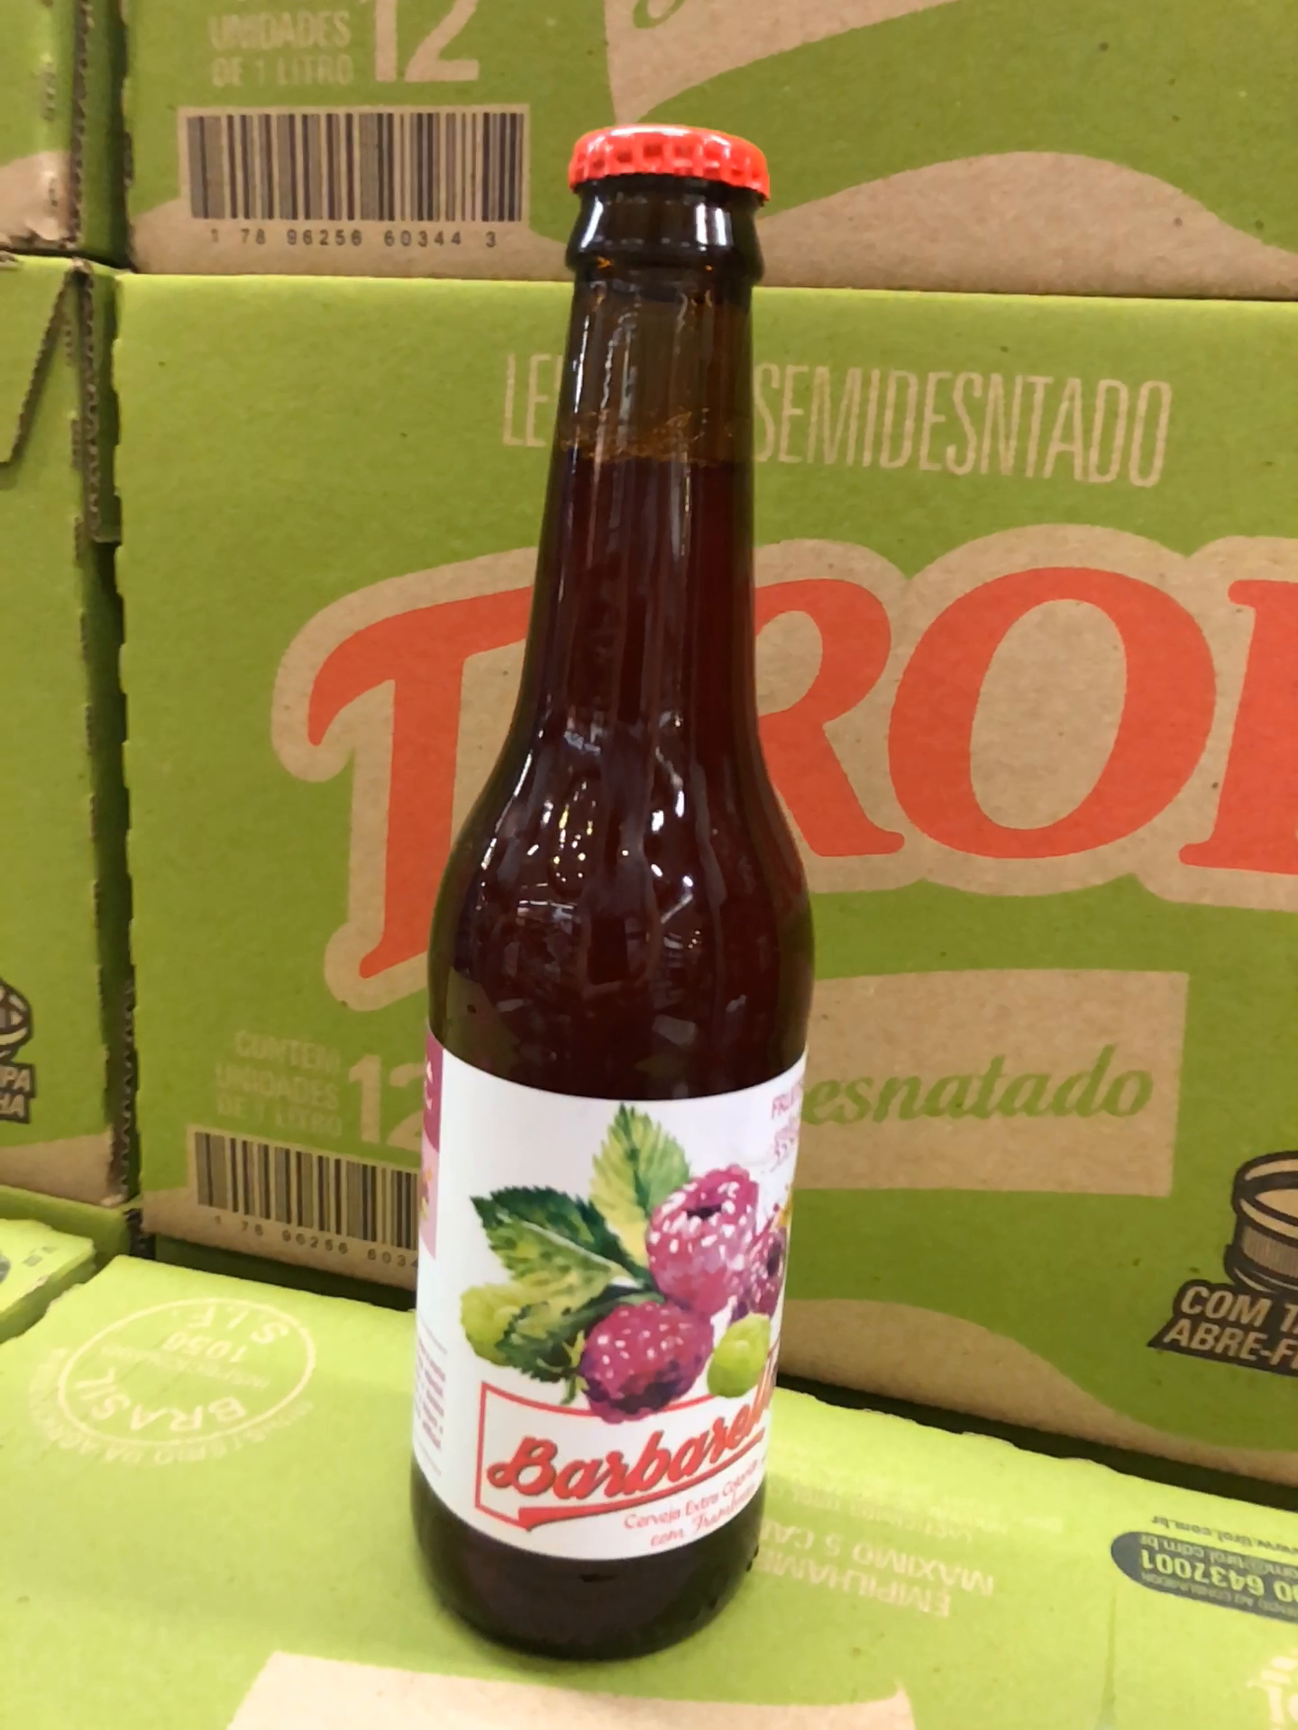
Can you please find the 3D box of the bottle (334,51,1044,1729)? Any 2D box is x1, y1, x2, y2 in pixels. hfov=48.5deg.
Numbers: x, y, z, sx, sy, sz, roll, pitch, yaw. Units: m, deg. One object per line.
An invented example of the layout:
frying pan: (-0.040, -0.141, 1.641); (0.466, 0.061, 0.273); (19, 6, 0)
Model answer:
bottle: (-0.002, 0.014, 0.223); (0.070, 0.229, 0.060); (-4, 16, -30)
